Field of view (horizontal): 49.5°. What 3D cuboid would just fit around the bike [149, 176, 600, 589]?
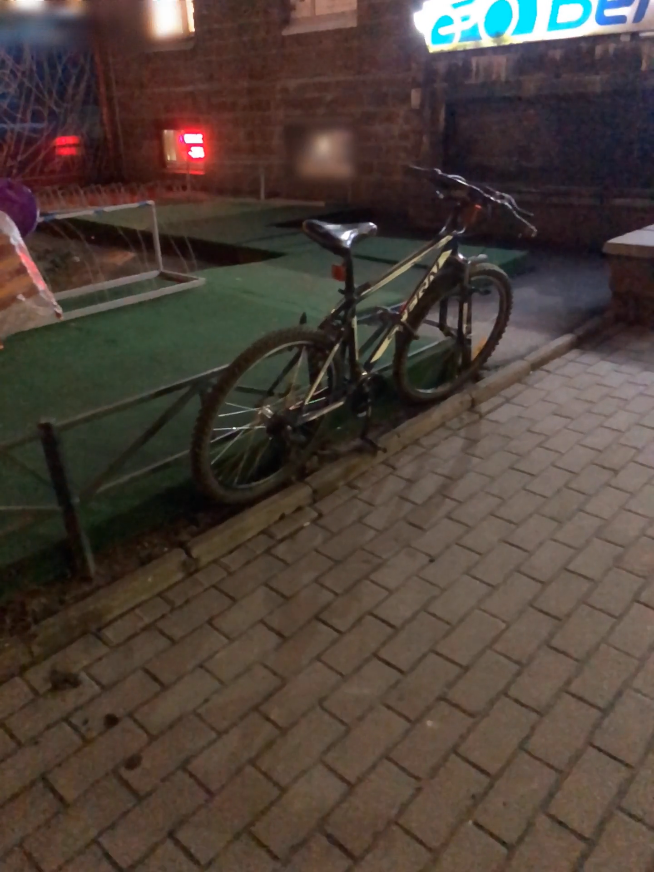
[{"bbox_3d":[0.253,-0.316,2.234,0.531,0.883,1.461,18,29,39],"label":"bike"}]
